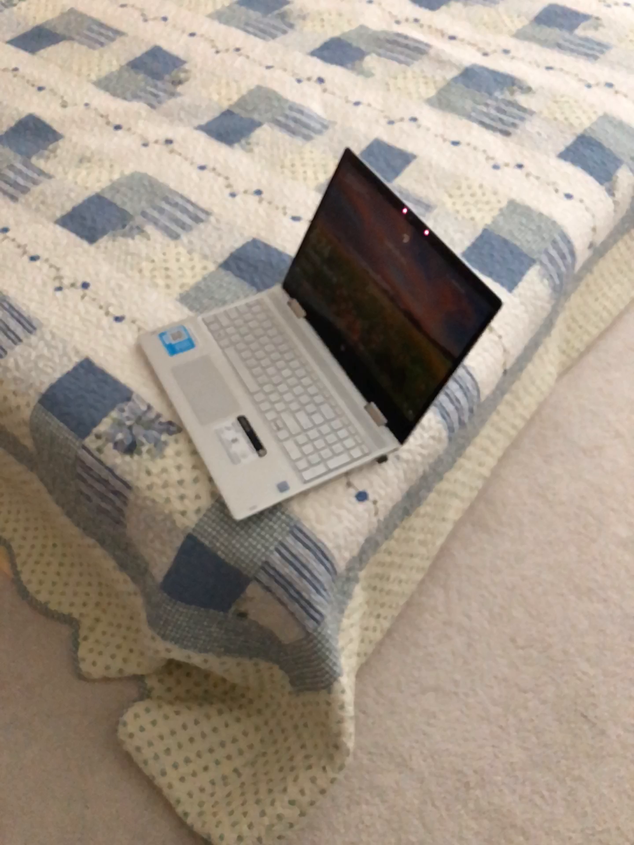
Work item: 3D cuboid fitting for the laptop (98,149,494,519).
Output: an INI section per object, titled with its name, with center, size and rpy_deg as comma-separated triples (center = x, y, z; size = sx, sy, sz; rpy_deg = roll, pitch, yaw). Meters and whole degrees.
[laptop]
center = -0.034, -0.135, 0.945
size = 0.358, 0.208, 0.356
rpy_deg = -24, 57, -17
